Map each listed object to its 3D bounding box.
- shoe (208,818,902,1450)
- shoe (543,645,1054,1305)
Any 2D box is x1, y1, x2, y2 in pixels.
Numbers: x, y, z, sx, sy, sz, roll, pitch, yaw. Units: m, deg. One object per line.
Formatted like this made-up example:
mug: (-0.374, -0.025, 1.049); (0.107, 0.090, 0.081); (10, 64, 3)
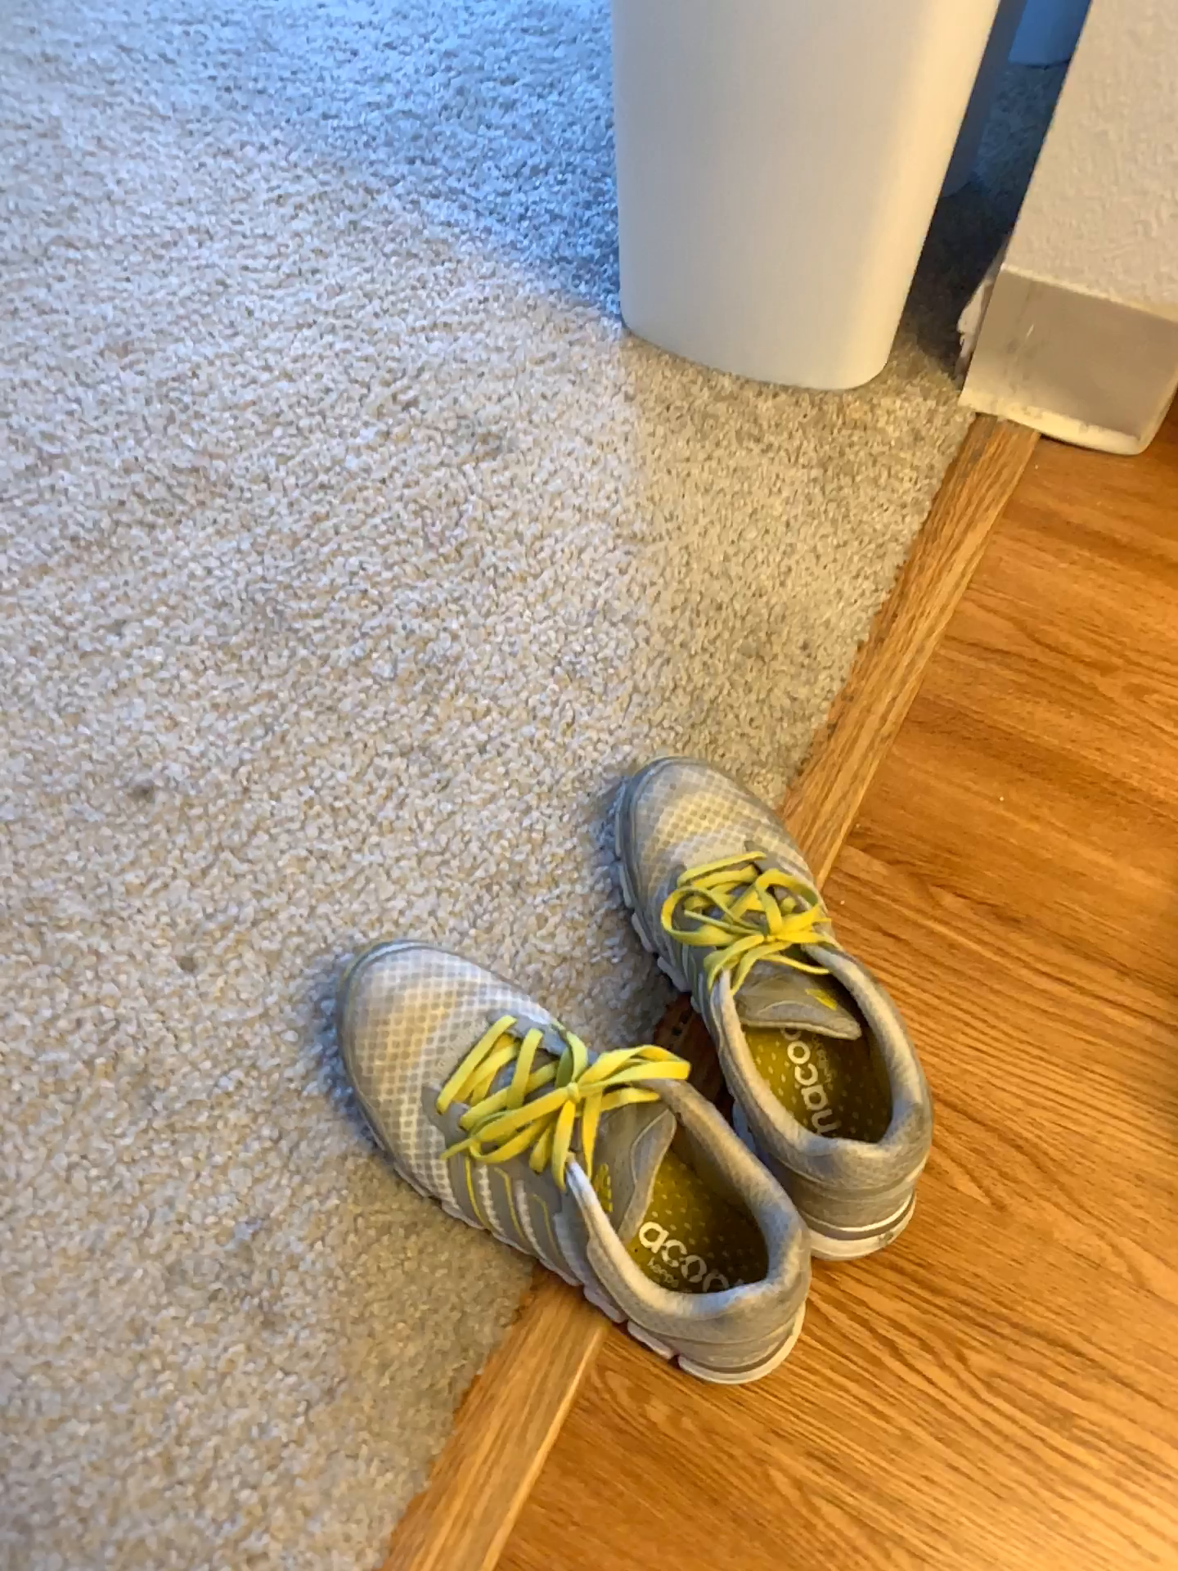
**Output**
shoe: (-0.019, 0.140, 0.481); (0.250, 0.130, 0.080); (34, 64, 18)
shoe: (0.078, 0.076, 0.530); (0.090, 0.090, 0.261); (-24, 62, -6)
